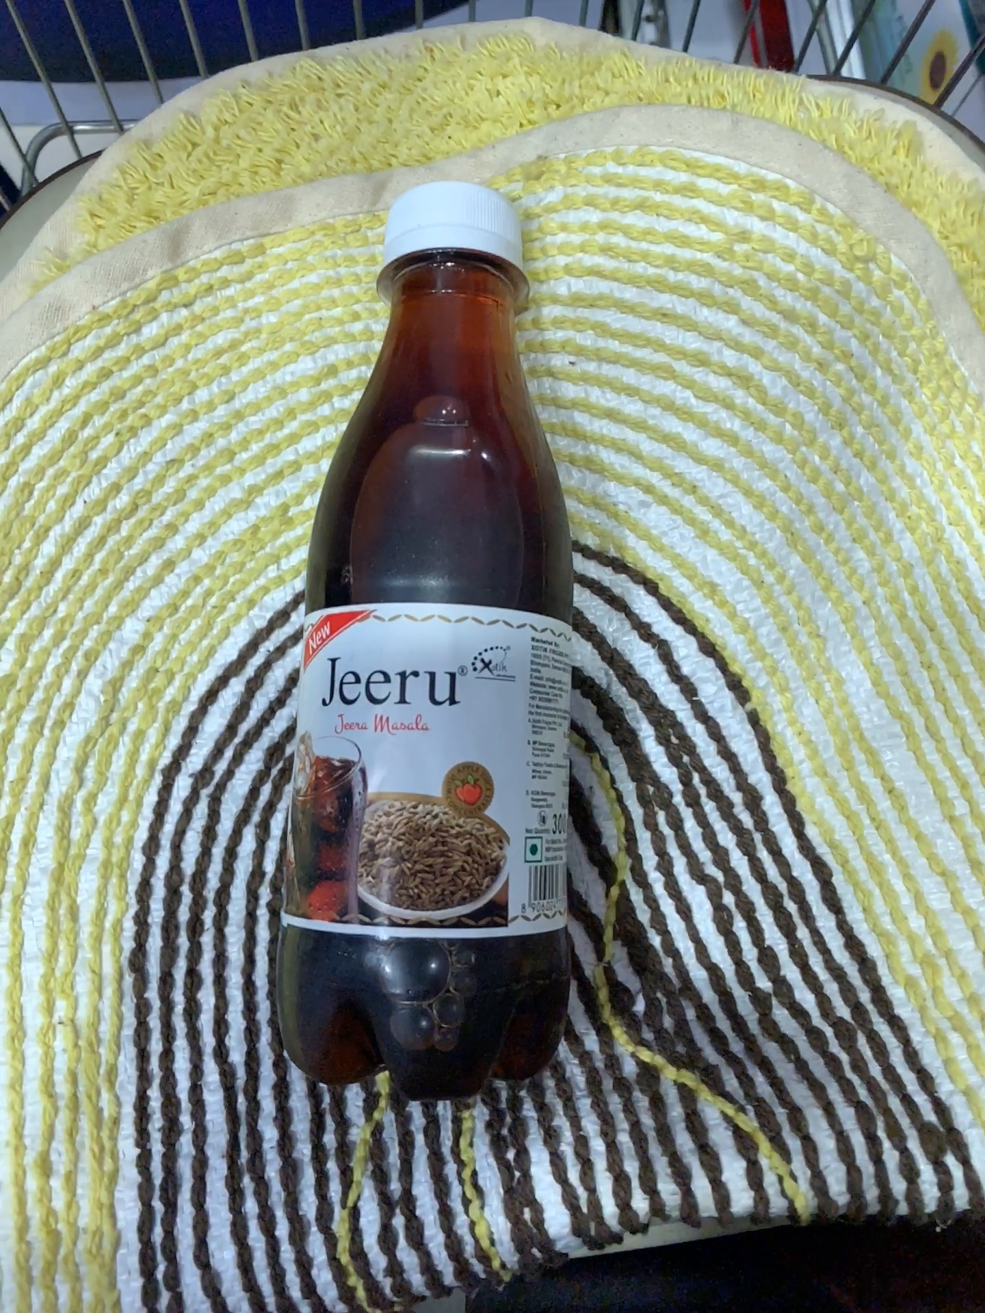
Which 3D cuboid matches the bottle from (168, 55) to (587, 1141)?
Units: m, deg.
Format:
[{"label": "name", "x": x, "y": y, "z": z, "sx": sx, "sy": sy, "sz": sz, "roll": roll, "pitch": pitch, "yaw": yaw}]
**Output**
[{"label": "bottle", "x": -0.015, "y": -0.012, "z": 0.200, "sx": 0.060, "sy": 0.060, "sz": 0.180, "roll": 1, "pitch": 82, "yaw": 9}]
